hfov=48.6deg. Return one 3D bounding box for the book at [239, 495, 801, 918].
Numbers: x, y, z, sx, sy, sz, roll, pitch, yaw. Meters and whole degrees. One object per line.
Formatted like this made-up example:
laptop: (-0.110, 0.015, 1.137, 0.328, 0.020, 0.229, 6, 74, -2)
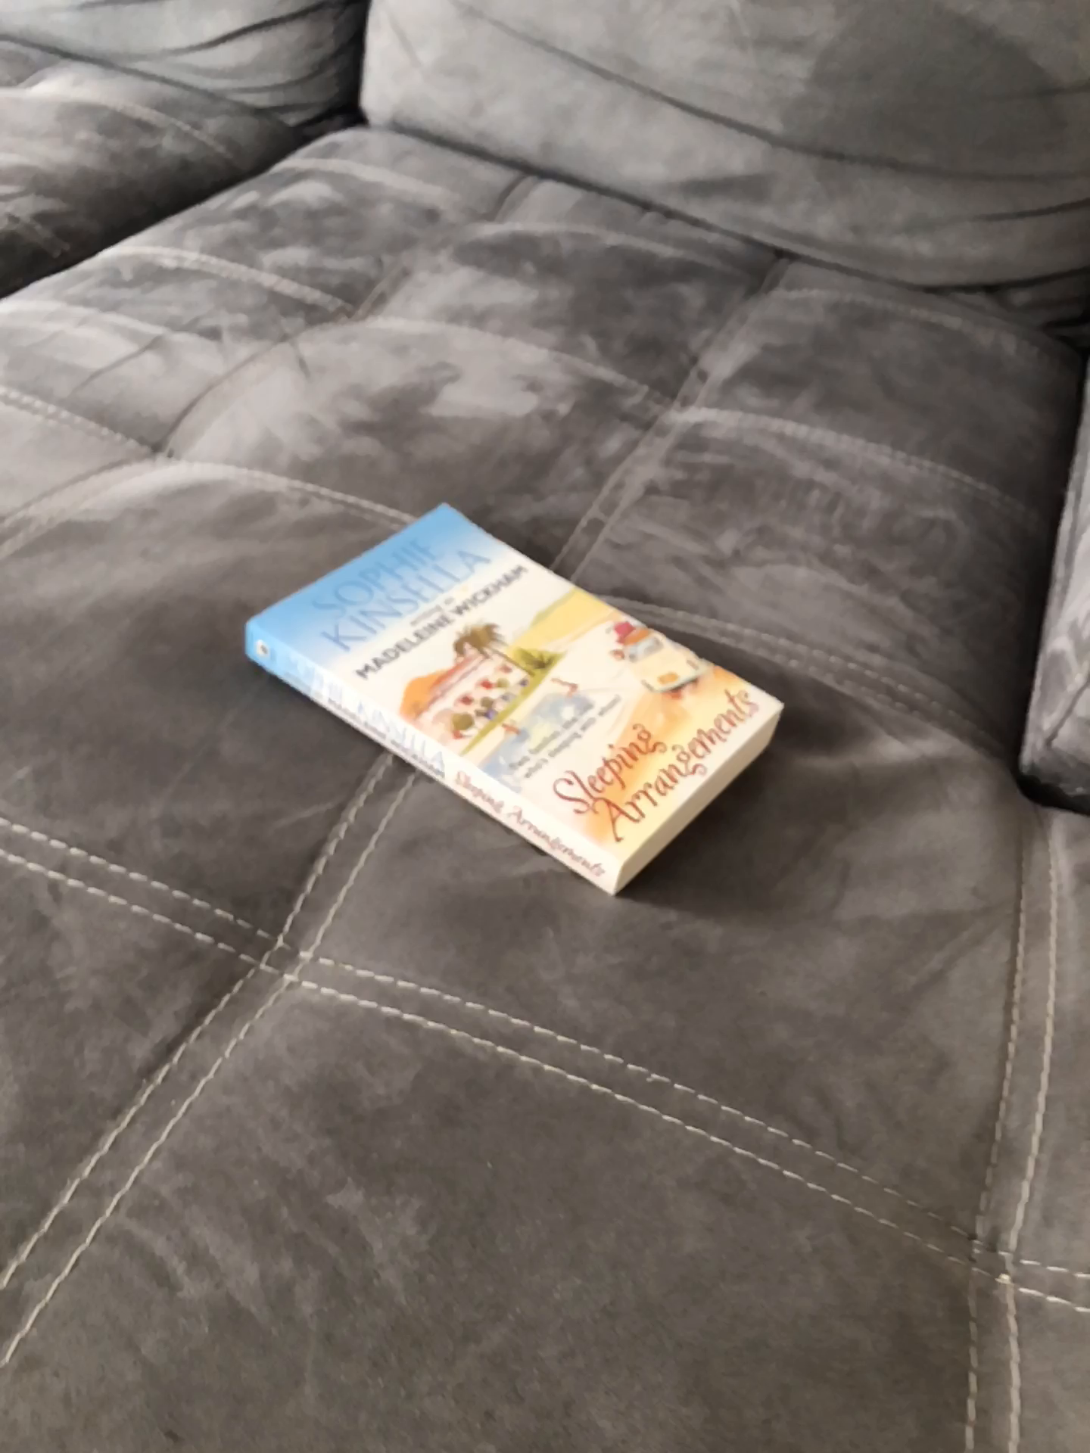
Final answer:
book: (-0.011, -0.021, 0.514, 0.200, 0.030, 0.131, 32, 45, 21)
